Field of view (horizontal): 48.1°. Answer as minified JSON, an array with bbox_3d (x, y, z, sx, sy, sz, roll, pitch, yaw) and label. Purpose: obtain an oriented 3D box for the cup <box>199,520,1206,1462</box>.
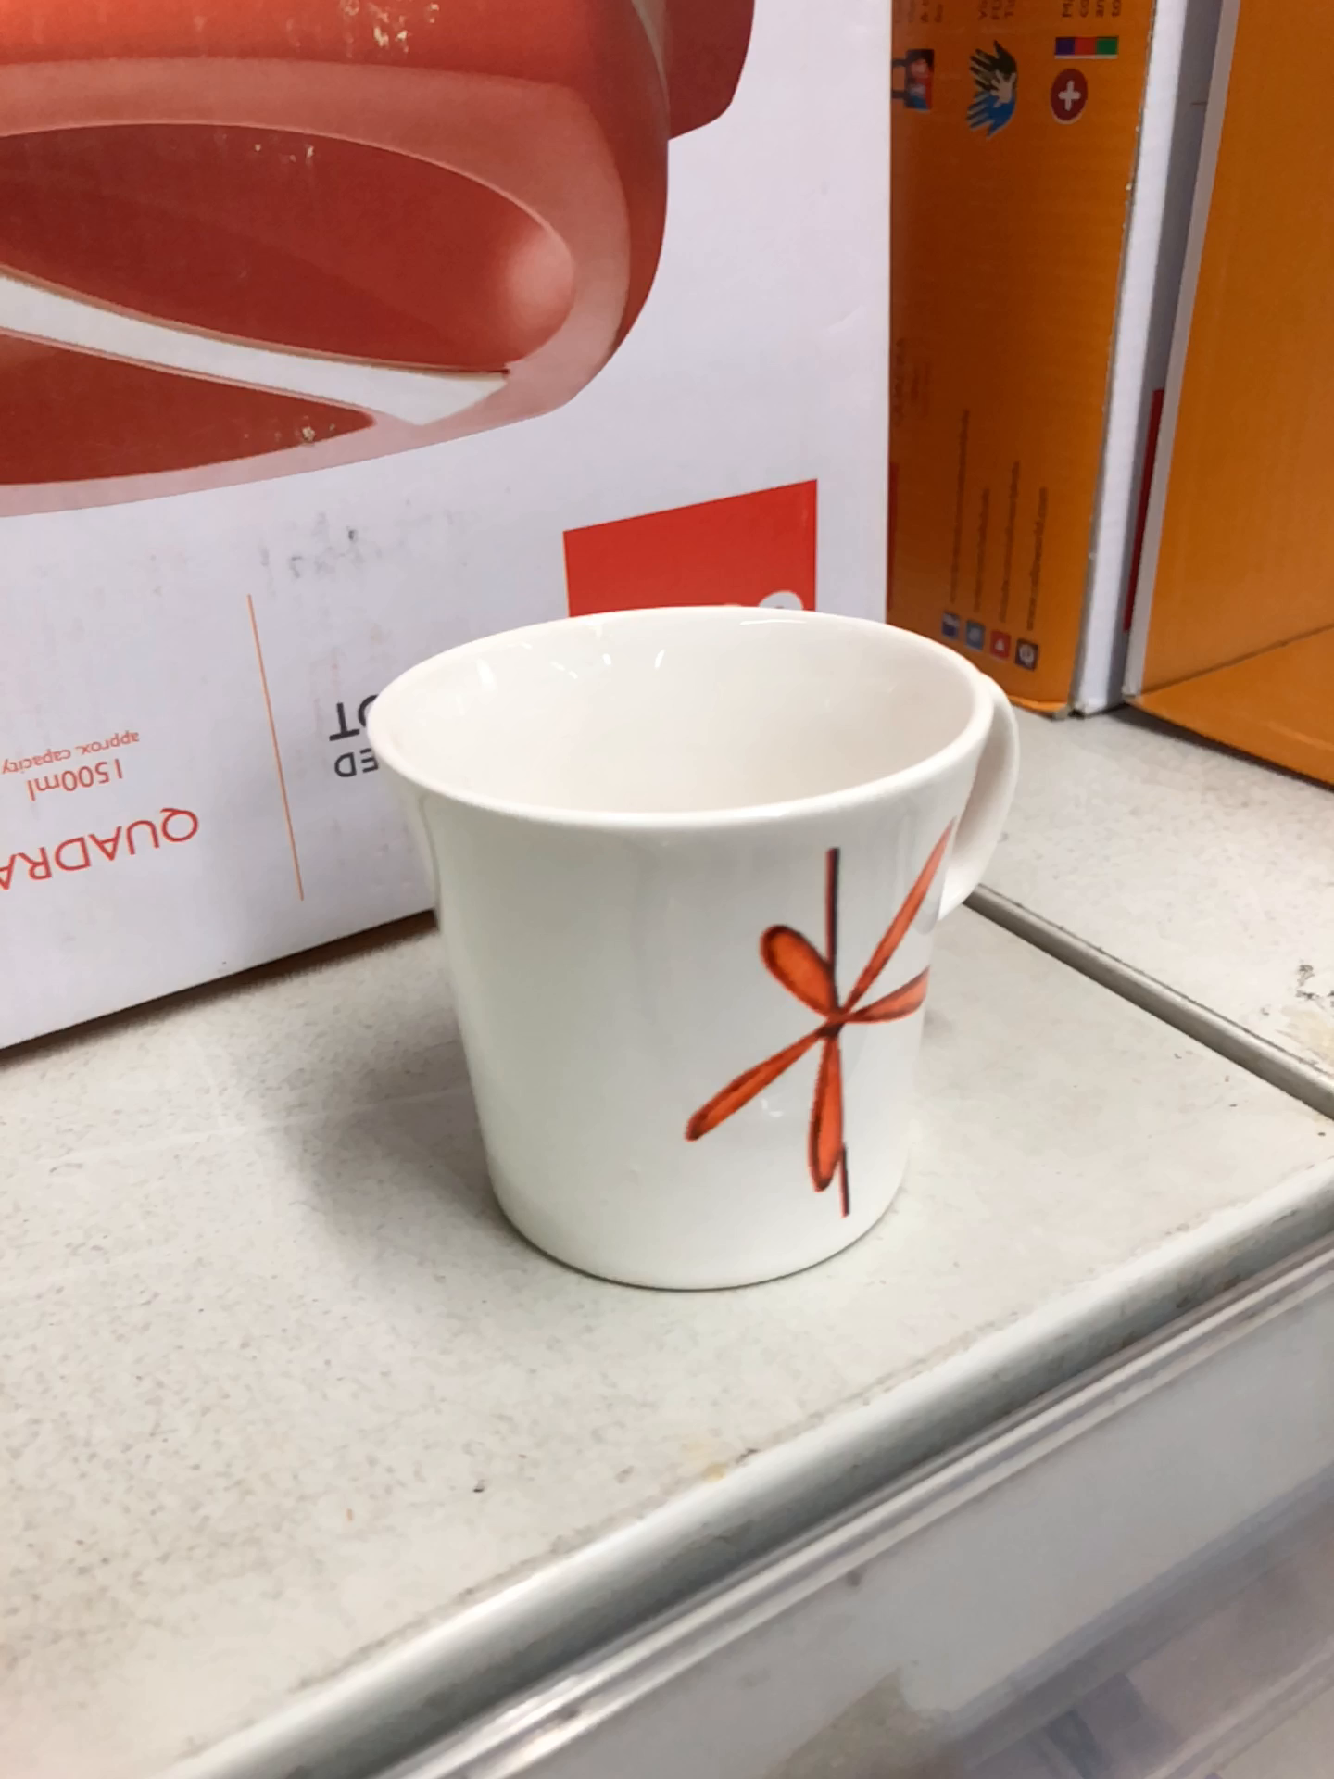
[{"bbox_3d":[0.007,0.002,0.196,0.100,0.070,0.070,-24,34,-35],"label":"cup"}]
